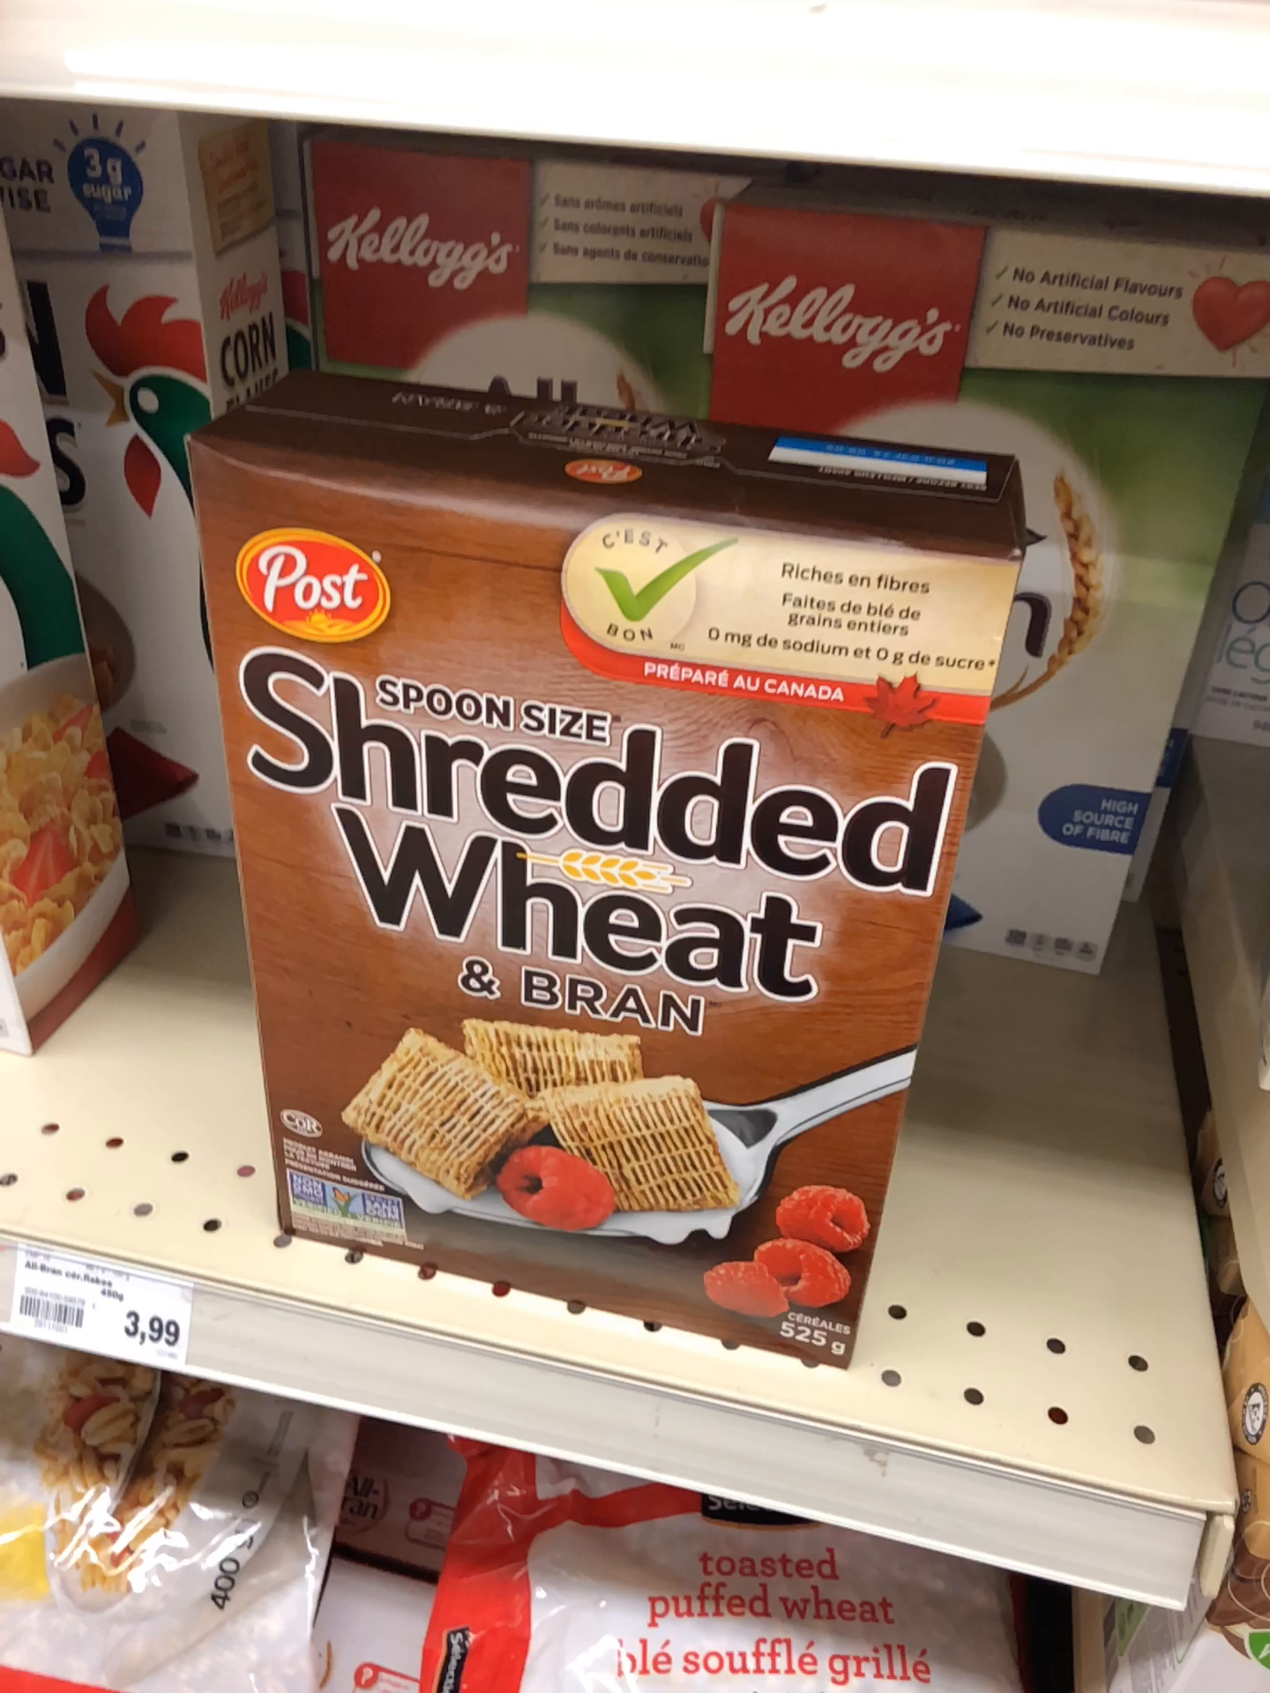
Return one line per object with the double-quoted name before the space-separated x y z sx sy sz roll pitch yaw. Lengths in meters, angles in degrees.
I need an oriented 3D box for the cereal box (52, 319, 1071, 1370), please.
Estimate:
"cereal box" -0.018 0.007 0.374 0.210 0.248 0.071 10 34 11
